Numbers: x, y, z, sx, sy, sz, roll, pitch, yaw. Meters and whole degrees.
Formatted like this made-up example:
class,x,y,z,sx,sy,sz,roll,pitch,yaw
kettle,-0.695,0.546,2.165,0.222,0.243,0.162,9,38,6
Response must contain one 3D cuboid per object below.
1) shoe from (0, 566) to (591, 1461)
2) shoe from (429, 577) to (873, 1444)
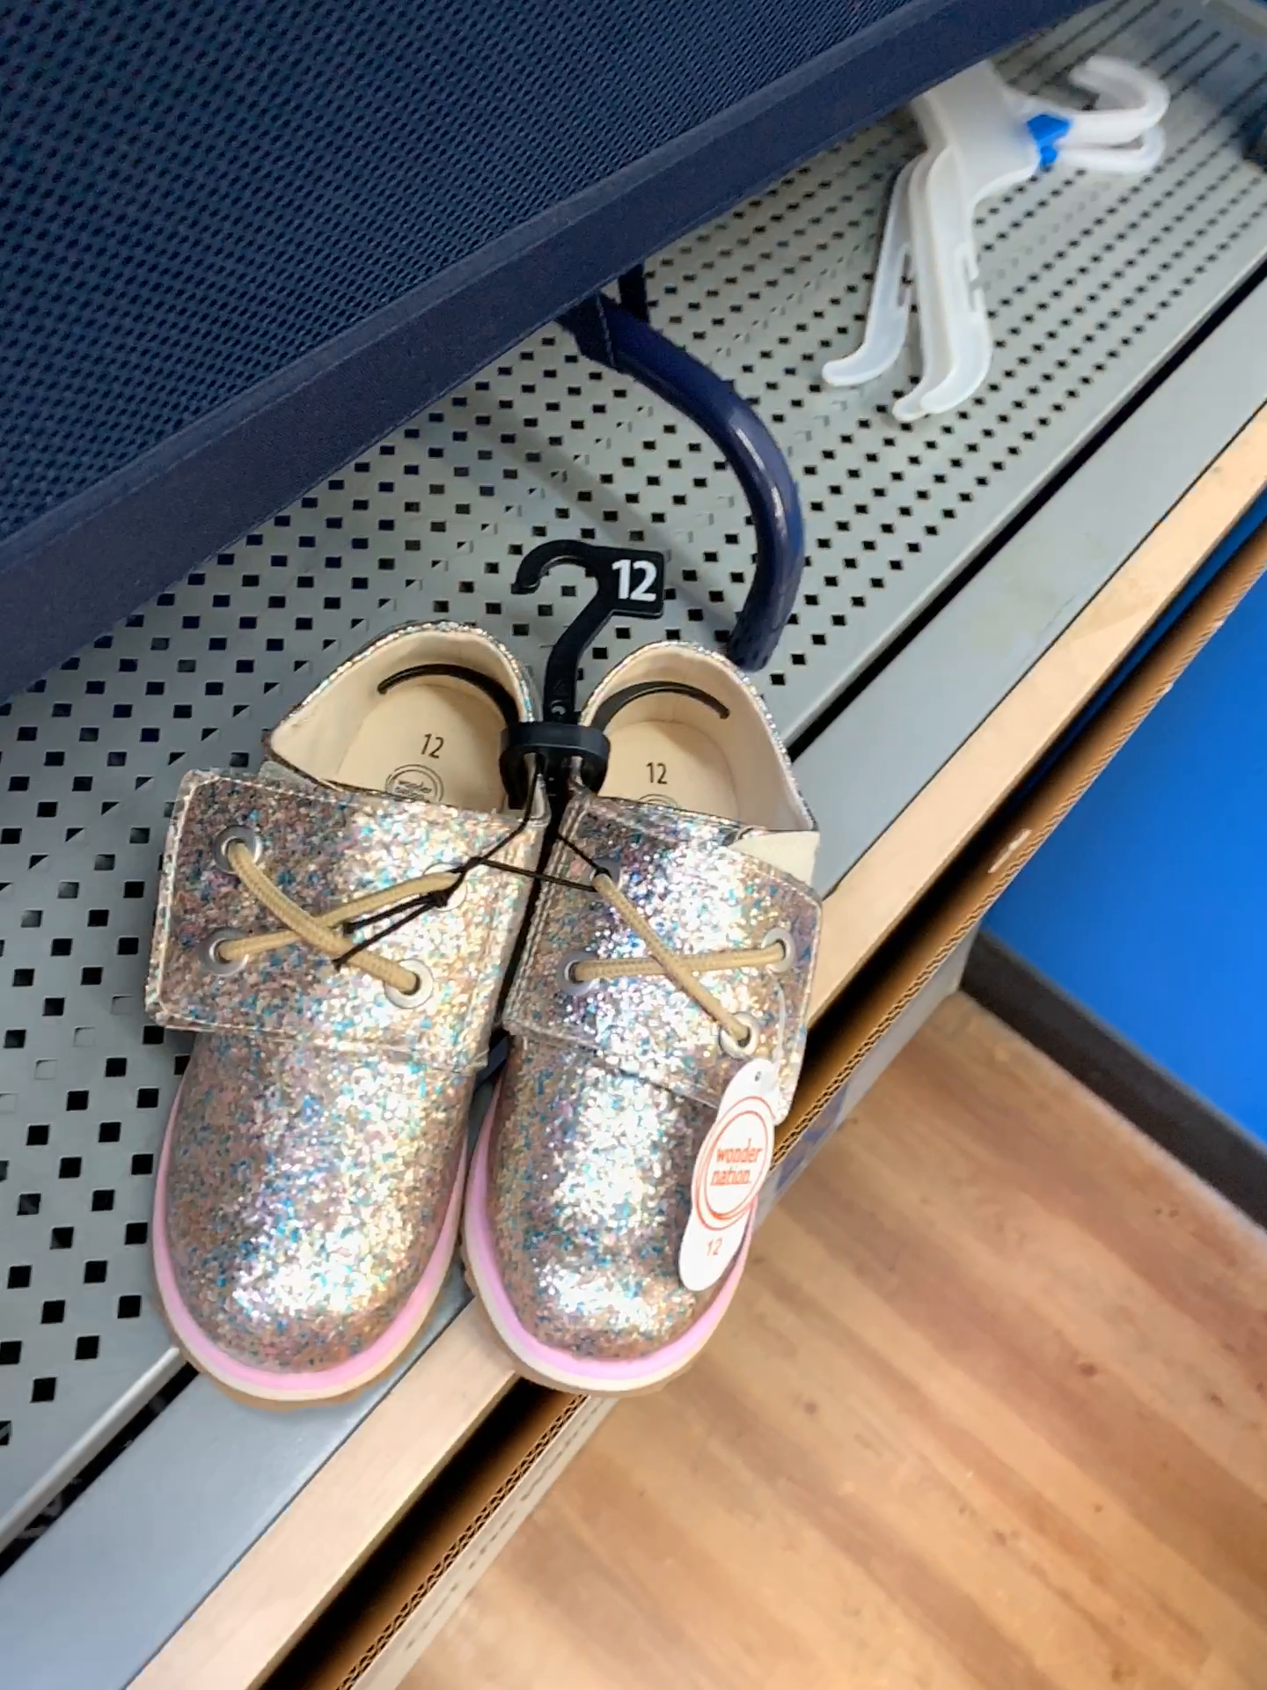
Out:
class,x,y,z,sx,sy,sz,roll,pitch,yaw
shoe,-0.075,0.037,0.329,0.083,0.070,0.199,13,60,-3
shoe,0.009,0.036,0.340,0.086,0.060,0.206,10,61,-5
